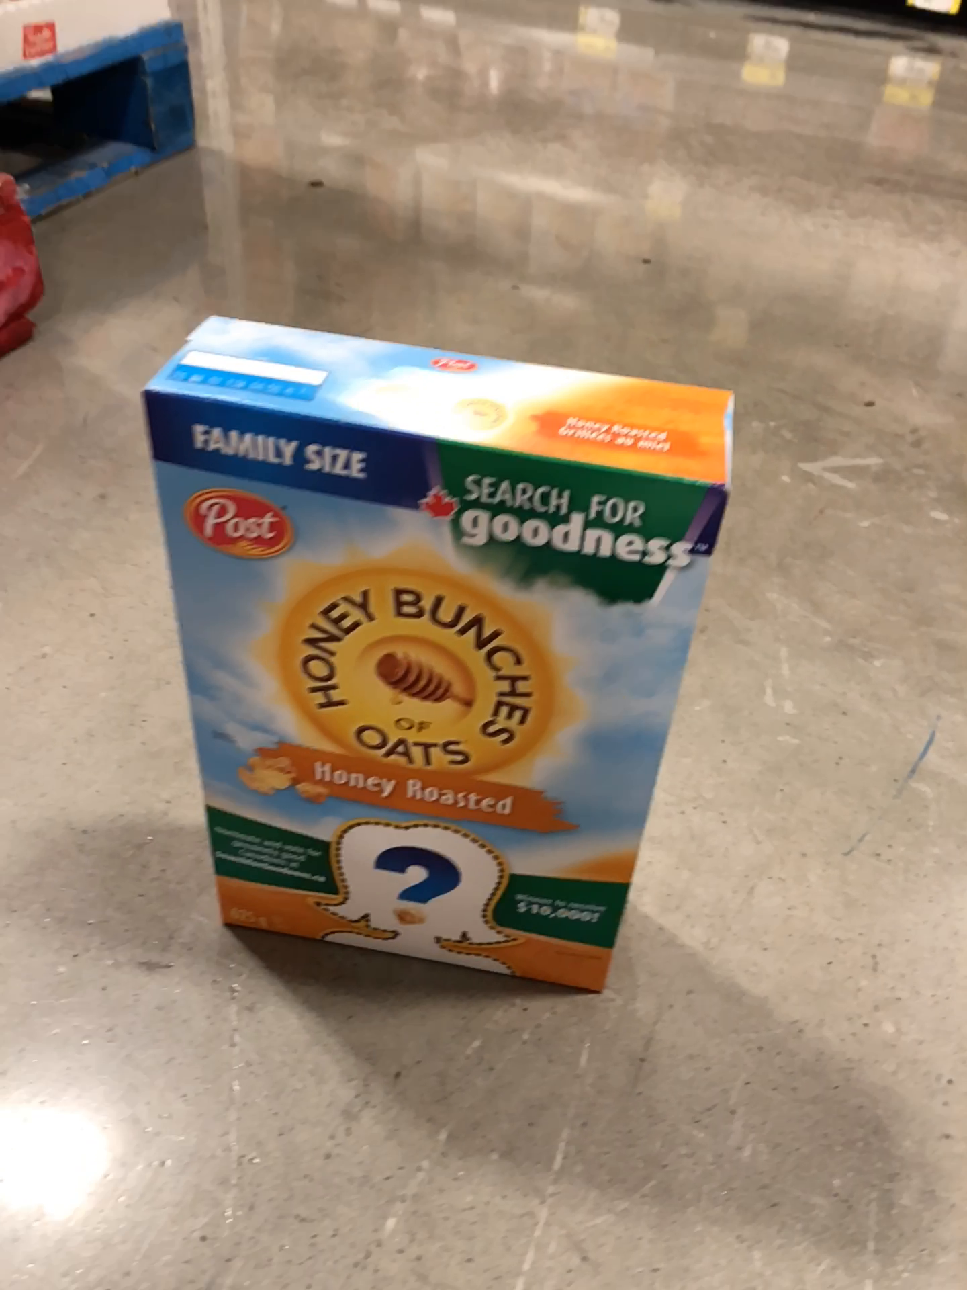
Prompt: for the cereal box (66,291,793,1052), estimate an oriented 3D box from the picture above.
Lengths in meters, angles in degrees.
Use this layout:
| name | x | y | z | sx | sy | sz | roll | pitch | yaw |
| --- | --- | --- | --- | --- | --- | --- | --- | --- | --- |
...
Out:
| name | x | y | z | sx | sy | sz | roll | pitch | yaw |
| --- | --- | --- | --- | --- | --- | --- | --- | --- | --- |
| cereal box | -0.022 | 0.035 | 0.431 | 0.210 | 0.309 | 0.070 | 9 | 42 | 5 |
